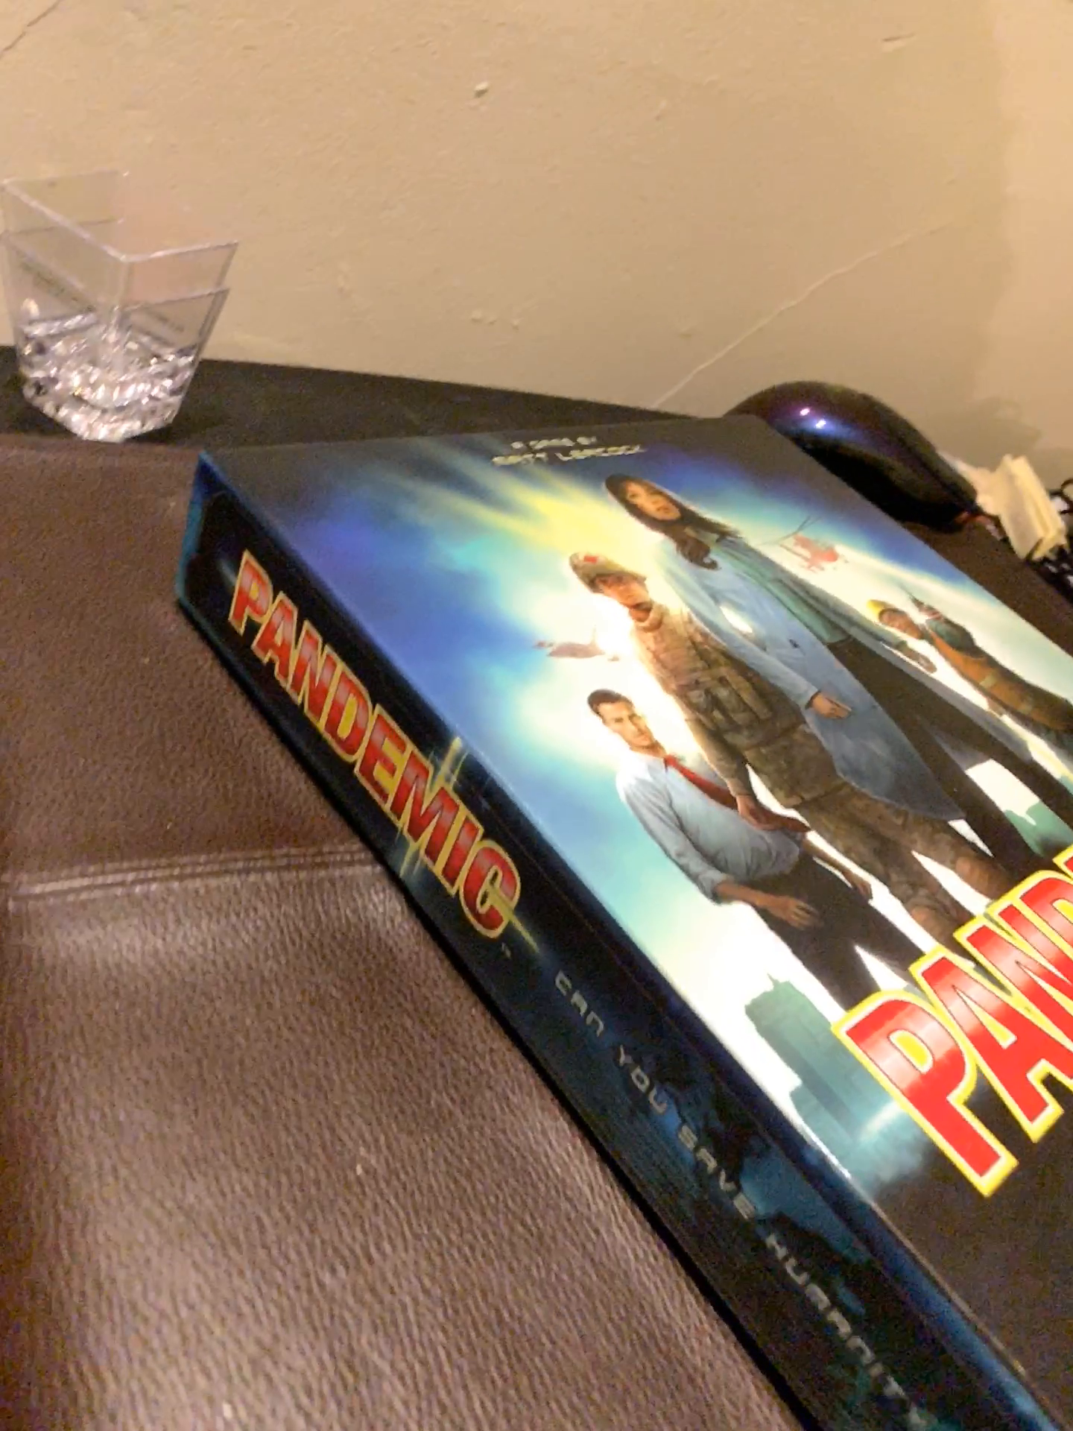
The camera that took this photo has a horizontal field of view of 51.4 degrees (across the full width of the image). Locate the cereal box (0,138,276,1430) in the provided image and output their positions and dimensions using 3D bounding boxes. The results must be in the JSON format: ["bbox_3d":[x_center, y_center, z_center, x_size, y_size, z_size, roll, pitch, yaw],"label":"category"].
[{"bbox_3d":[-0.630,0.211,0.850,0.510,0.995,0.472,27,38,4],"label":"cereal box"}]
